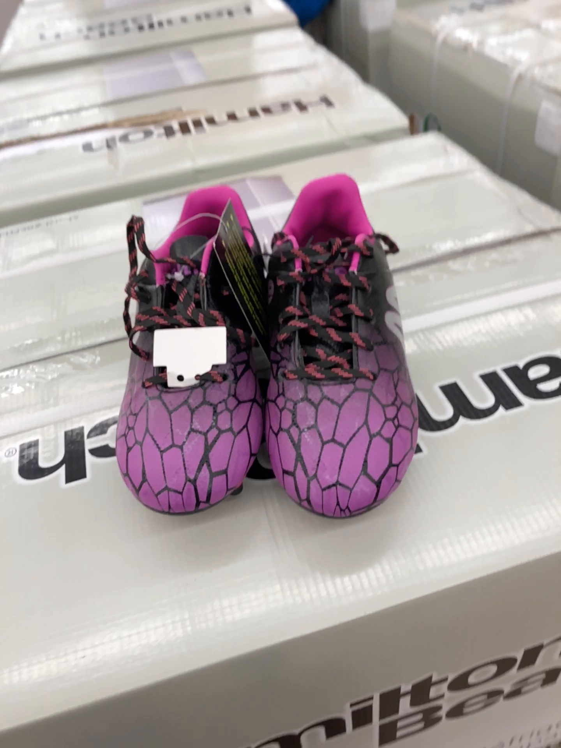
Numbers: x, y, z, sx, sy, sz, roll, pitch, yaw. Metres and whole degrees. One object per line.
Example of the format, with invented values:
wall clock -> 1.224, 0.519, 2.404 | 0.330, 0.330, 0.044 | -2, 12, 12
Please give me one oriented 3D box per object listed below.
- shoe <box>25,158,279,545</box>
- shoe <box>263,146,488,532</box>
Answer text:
shoe -> -0.047, -0.026, 0.330 | 0.080, 0.080, 0.211 | -4, 42, 5
shoe -> 0.038, -0.033, 0.329 | 0.080, 0.080, 0.211 | -5, 42, 4
